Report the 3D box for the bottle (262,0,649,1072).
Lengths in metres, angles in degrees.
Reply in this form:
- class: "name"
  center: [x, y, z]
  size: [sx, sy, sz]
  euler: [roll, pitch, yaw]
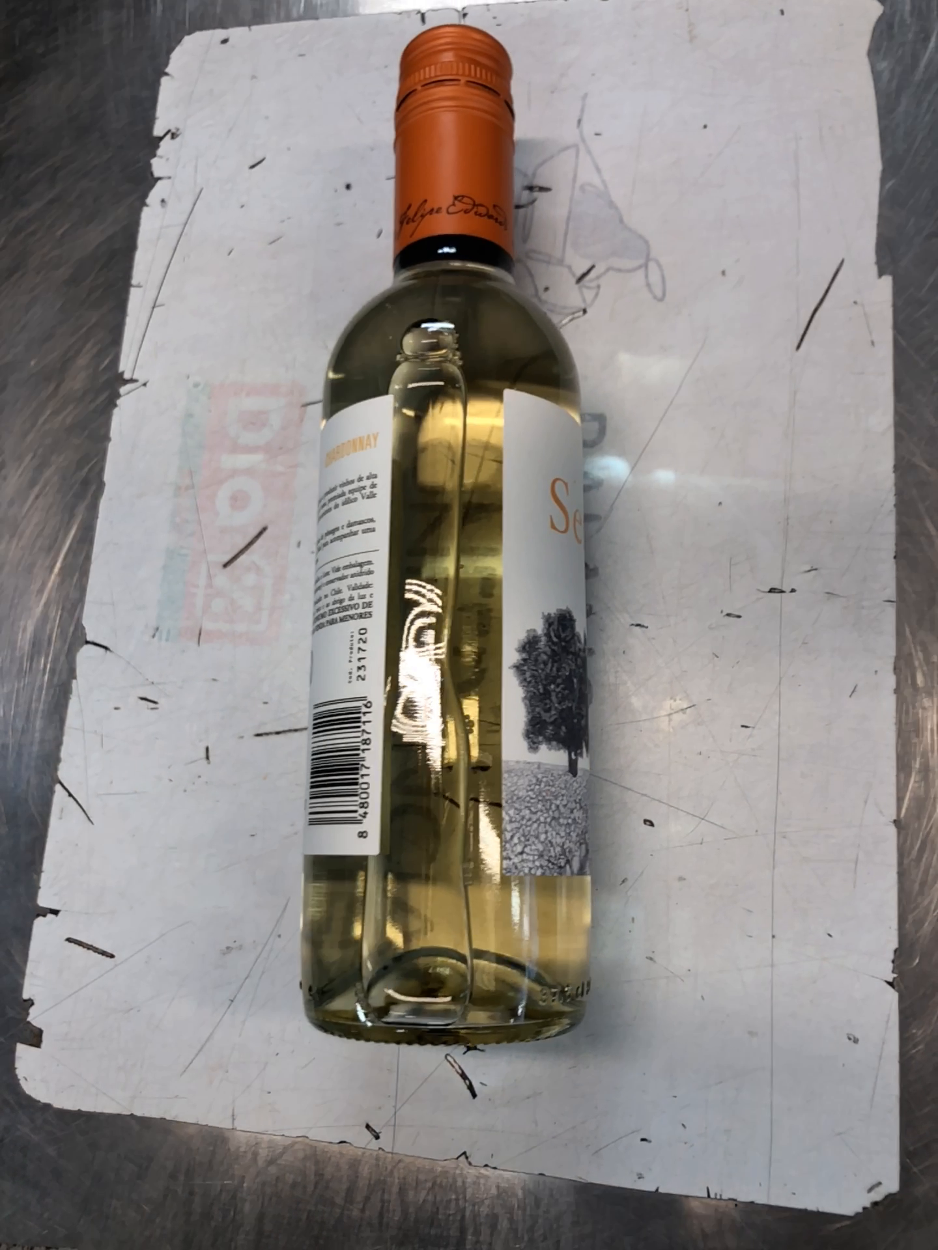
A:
- class: "bottle"
  center: [-0.008, -0.047, 0.249]
  size: [0.070, 0.070, 0.270]
  euler: [2, 78, -10]
